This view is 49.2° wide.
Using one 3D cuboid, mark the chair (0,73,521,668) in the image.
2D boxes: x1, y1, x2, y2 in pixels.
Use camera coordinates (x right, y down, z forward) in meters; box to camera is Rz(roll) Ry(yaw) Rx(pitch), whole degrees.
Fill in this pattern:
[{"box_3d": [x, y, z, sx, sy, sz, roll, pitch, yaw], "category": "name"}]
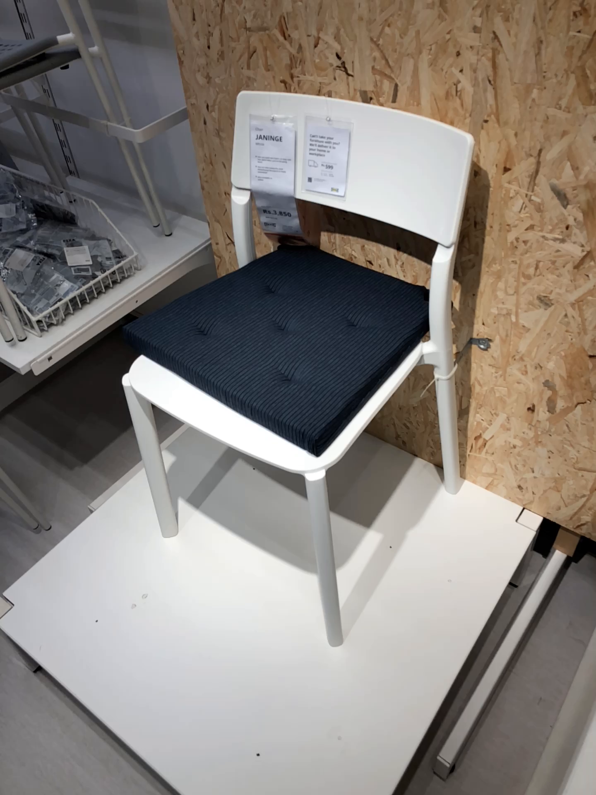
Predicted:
[{"box_3d": [-0.032, -0.046, 1.037, 0.491, 0.685, 0.462, 25, 51, 28], "category": "chair"}]
